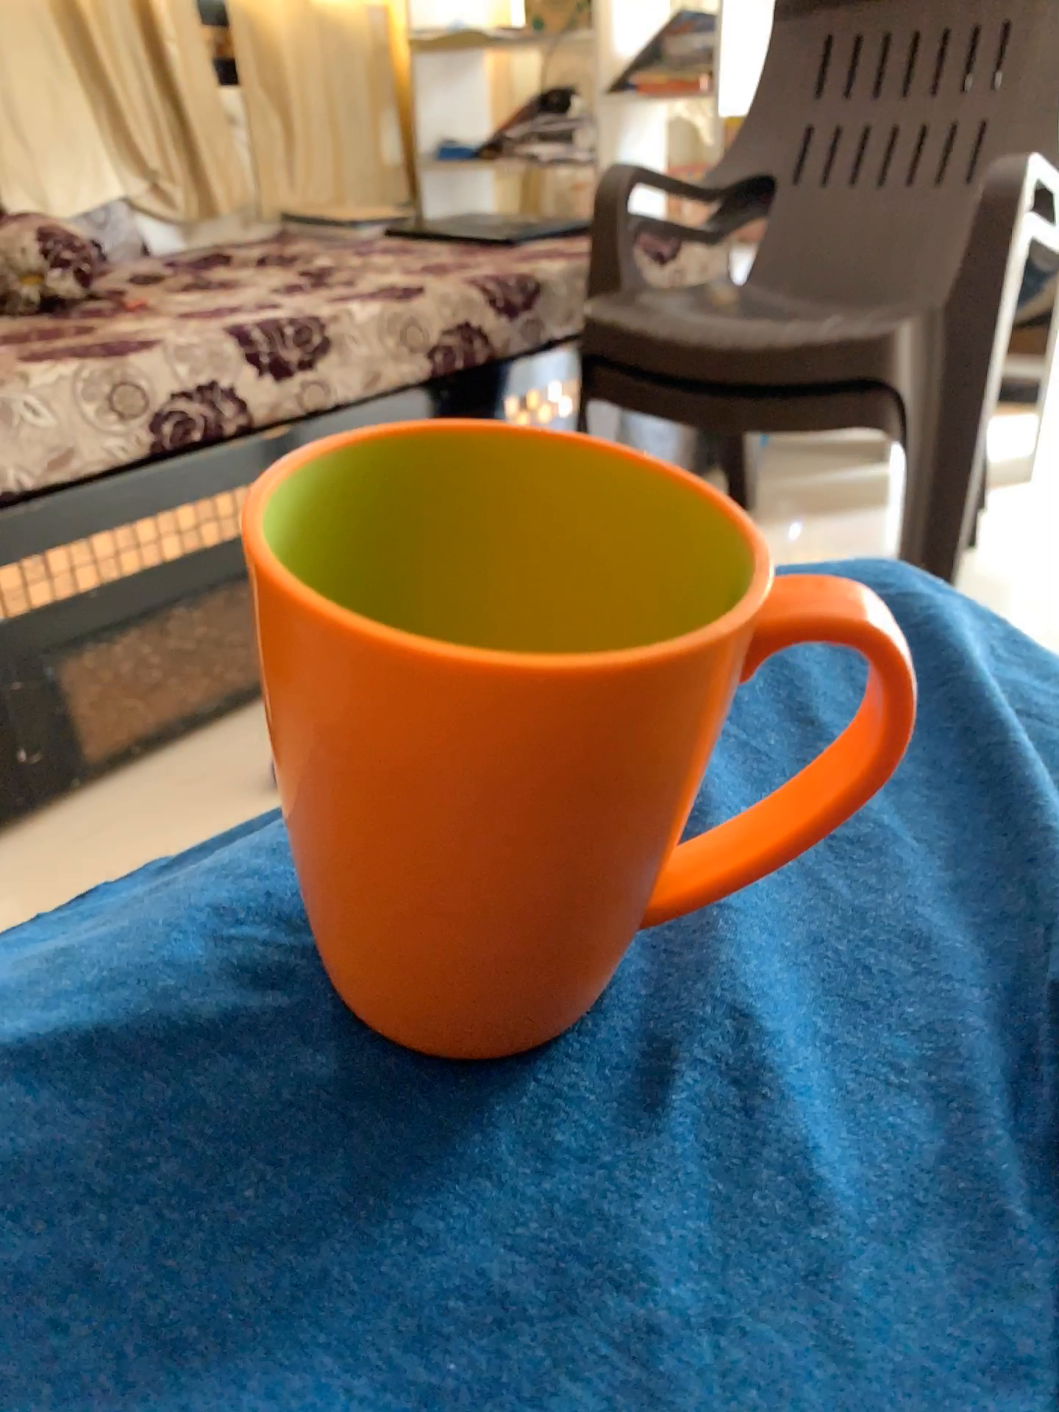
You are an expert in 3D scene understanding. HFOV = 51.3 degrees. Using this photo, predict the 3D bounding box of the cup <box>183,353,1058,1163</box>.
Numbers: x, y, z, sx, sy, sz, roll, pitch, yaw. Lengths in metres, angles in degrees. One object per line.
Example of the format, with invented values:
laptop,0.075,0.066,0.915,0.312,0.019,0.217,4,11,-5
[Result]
cup,0.009,0.008,0.194,0.120,0.089,0.101,4,39,-11
